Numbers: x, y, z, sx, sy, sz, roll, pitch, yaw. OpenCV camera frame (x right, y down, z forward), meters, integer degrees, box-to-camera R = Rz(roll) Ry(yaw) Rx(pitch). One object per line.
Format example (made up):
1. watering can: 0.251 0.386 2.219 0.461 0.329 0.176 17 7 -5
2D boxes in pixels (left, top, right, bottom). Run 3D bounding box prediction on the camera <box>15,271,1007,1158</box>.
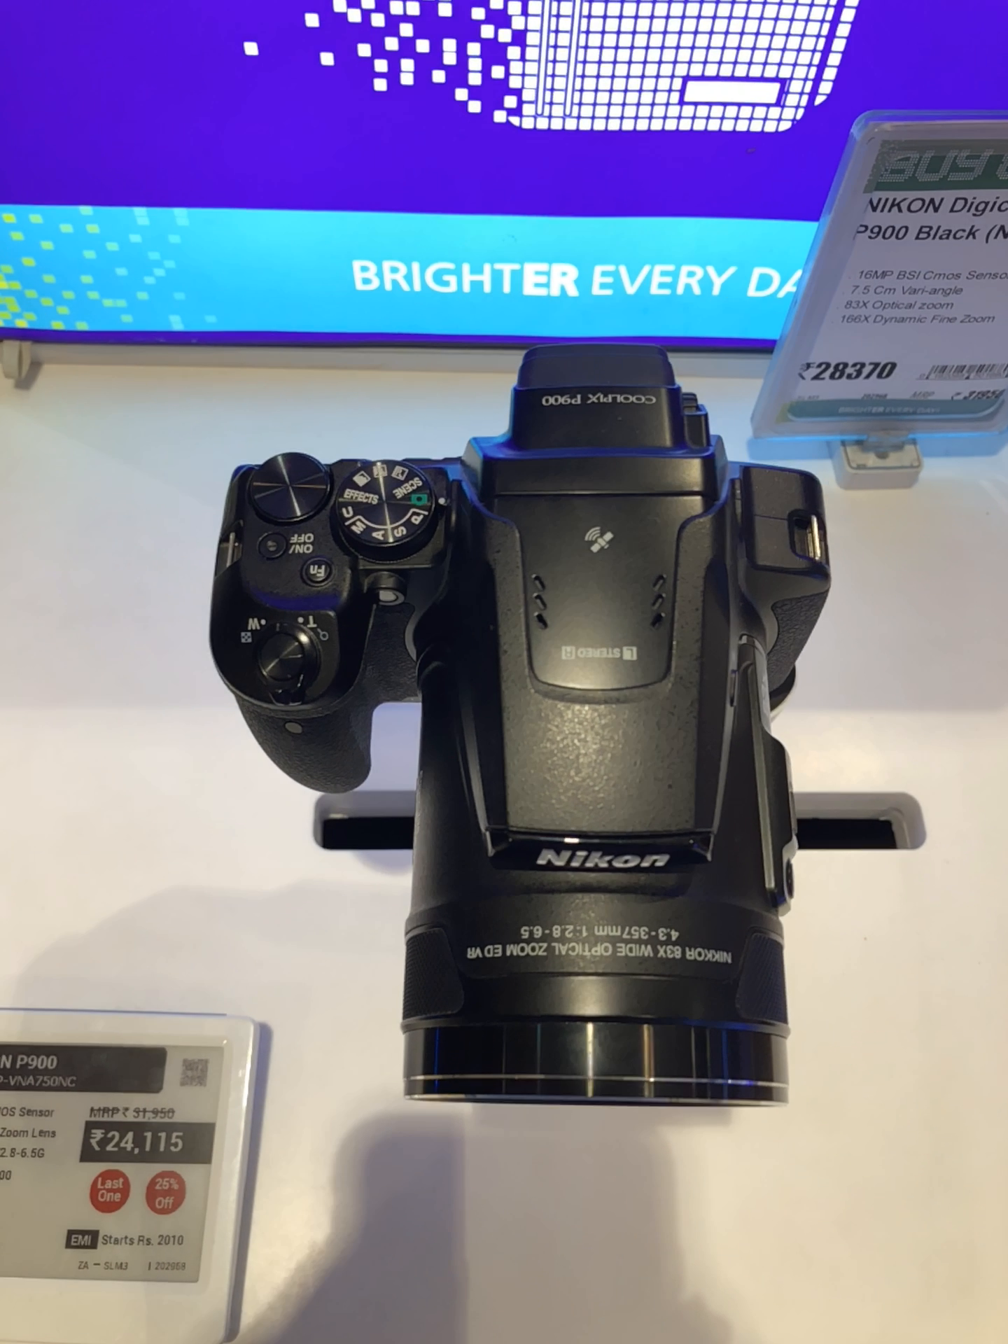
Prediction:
1. camera: 0.007 0.013 0.217 0.140 0.100 0.141 0 63 -3
